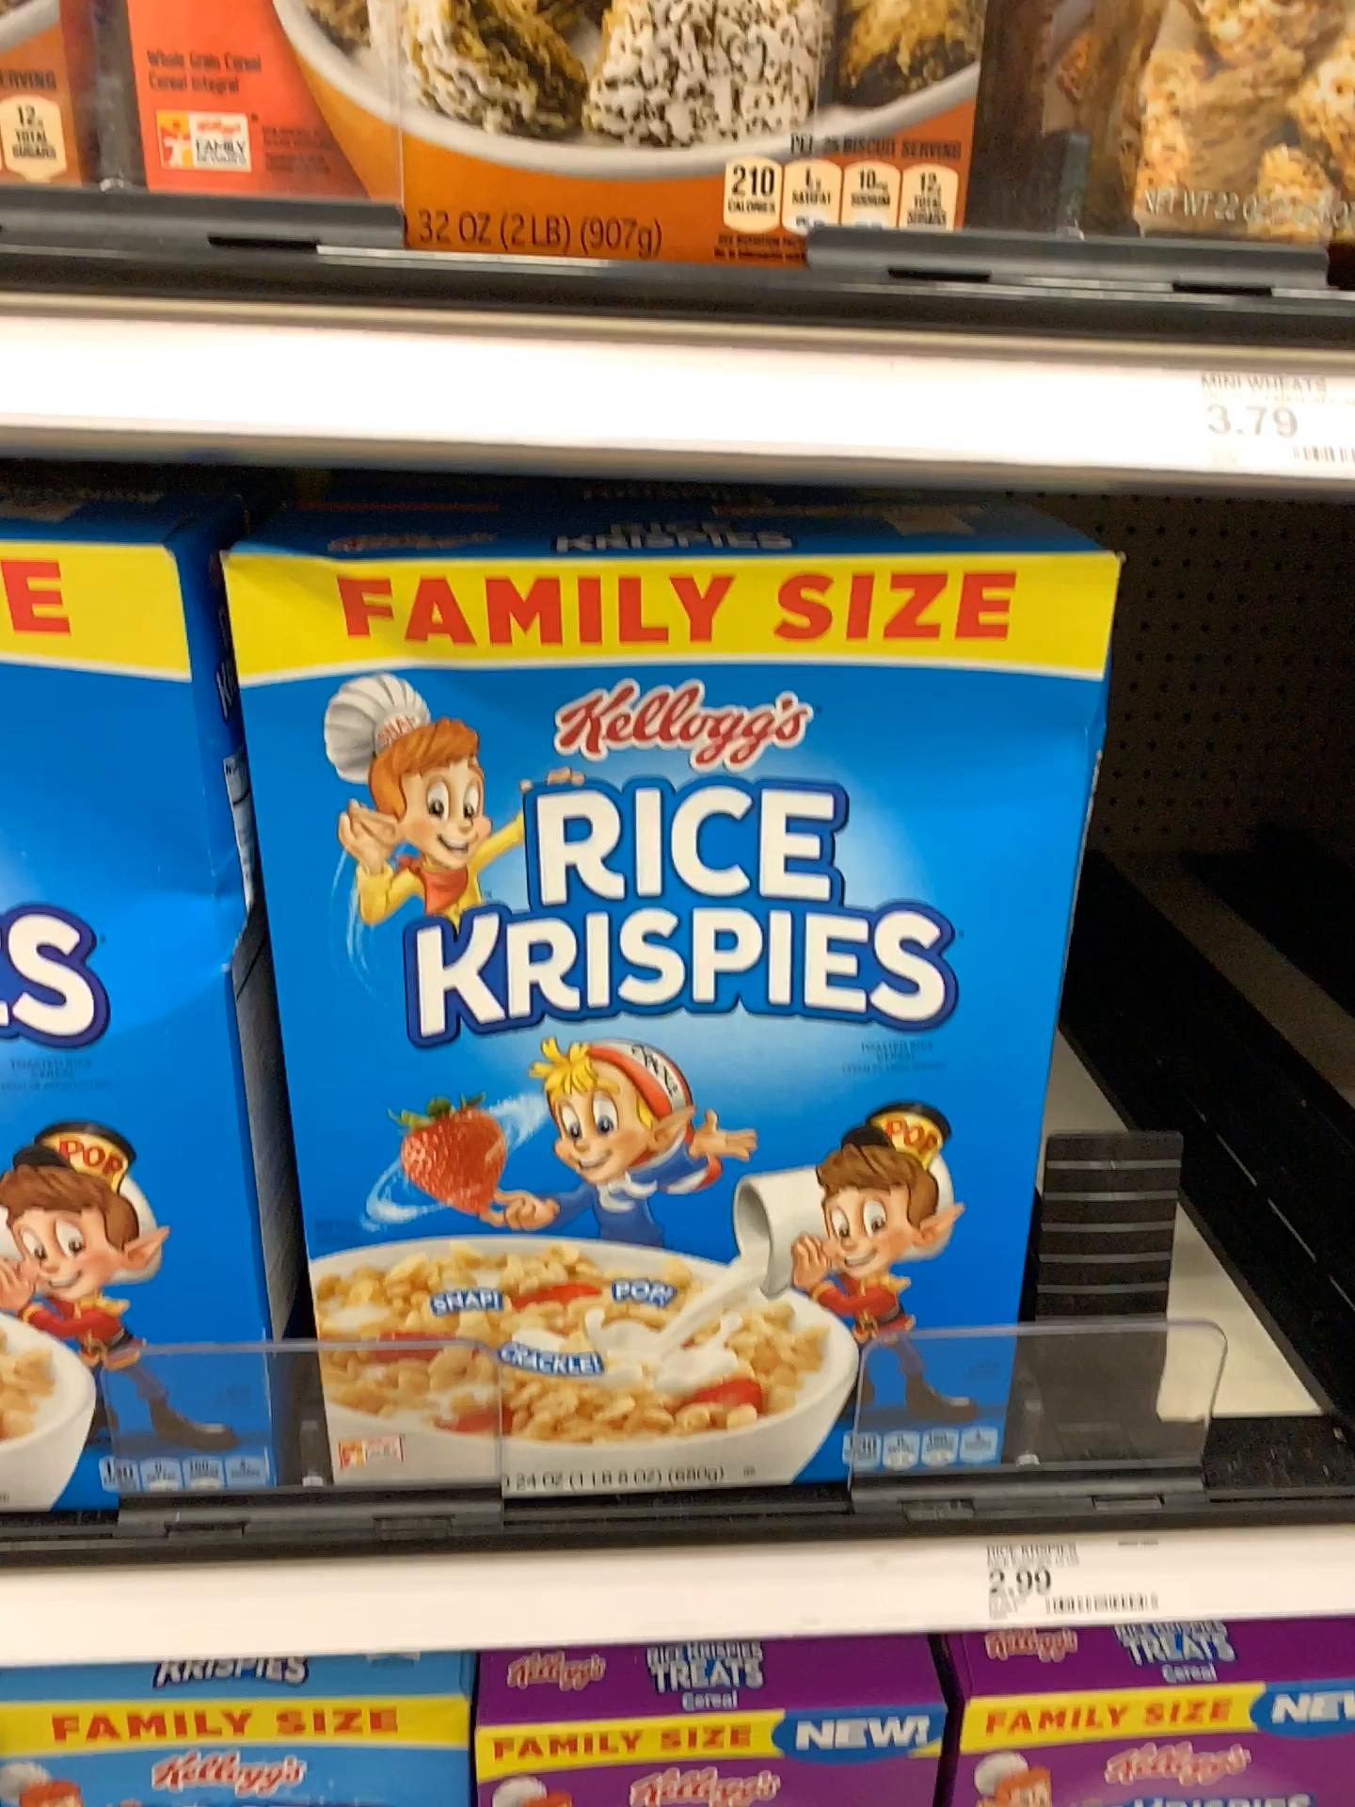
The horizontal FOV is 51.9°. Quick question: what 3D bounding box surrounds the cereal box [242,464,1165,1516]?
[{"bbox_3d":[-0.001,0.037,0.488,0.250,0.348,0.100,-1,24,-7],"label":"cereal box"}]
